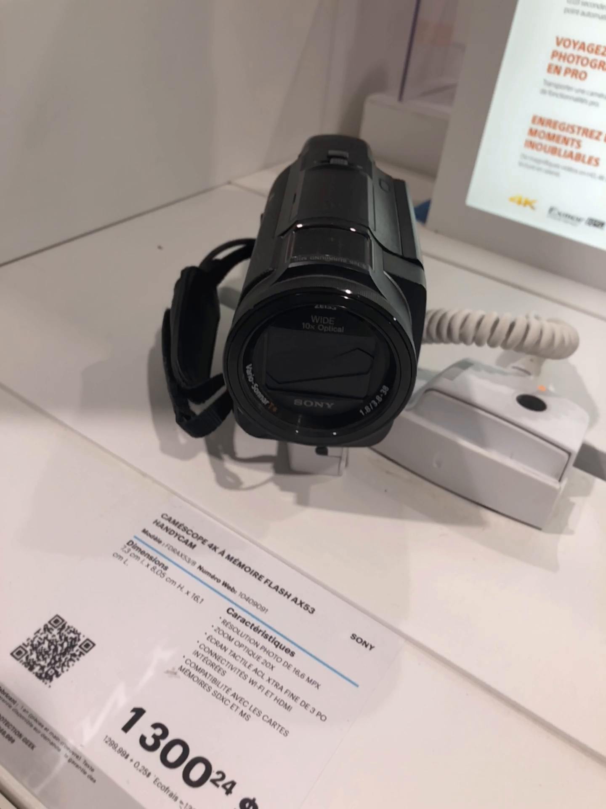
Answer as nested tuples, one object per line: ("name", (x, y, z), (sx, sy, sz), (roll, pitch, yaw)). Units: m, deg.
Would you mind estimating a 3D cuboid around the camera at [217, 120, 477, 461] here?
("camera", (0.013, -0.056, 0.276), (0.073, 0.070, 0.149), (6, 36, -2))
